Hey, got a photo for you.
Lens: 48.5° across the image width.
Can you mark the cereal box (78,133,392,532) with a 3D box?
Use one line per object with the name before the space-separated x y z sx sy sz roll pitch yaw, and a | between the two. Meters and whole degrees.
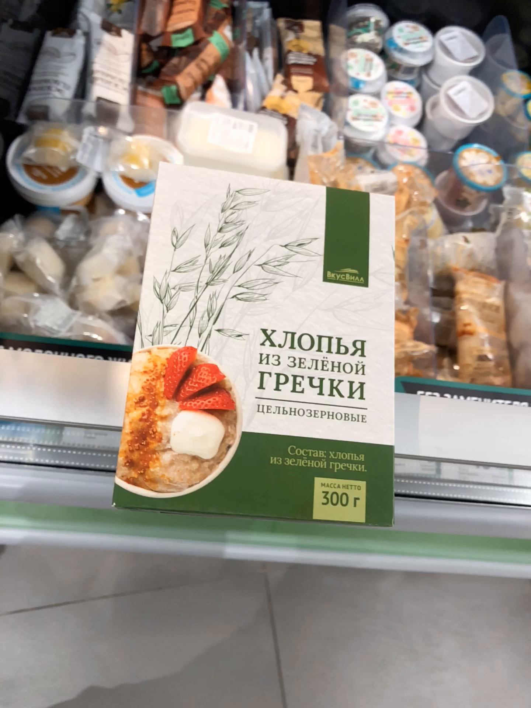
cereal box | -0.010 -0.010 0.330 0.150 0.050 0.200 6 74 -9
